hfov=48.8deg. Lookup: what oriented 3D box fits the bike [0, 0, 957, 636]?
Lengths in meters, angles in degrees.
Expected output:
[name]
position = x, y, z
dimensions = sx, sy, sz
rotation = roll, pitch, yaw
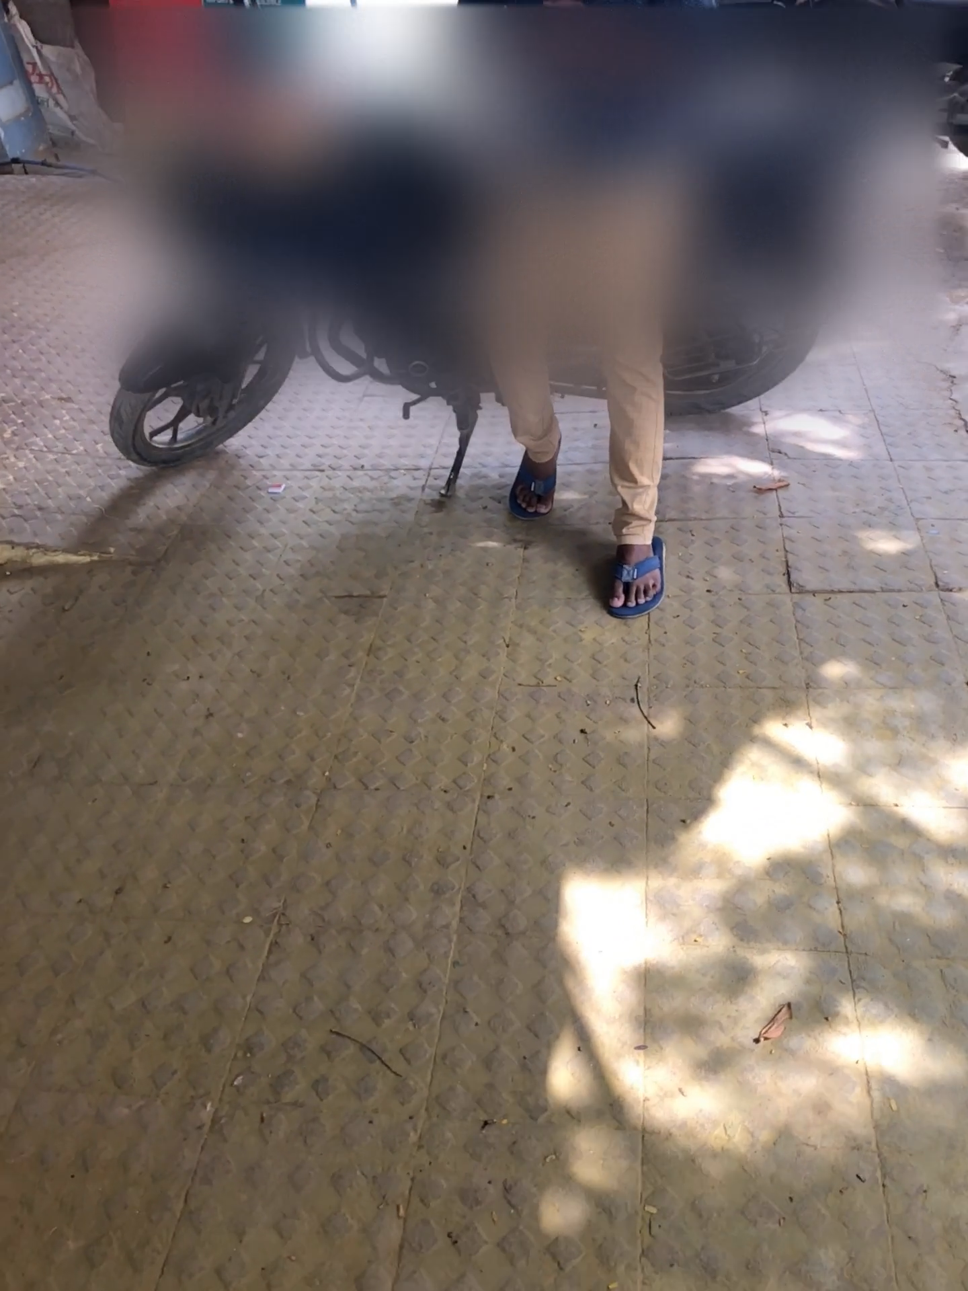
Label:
[bike]
position = -0.054, -0.861, 2.394
dimensions = 1.743, 1.175, 0.788
rotation = -10, 38, 0
